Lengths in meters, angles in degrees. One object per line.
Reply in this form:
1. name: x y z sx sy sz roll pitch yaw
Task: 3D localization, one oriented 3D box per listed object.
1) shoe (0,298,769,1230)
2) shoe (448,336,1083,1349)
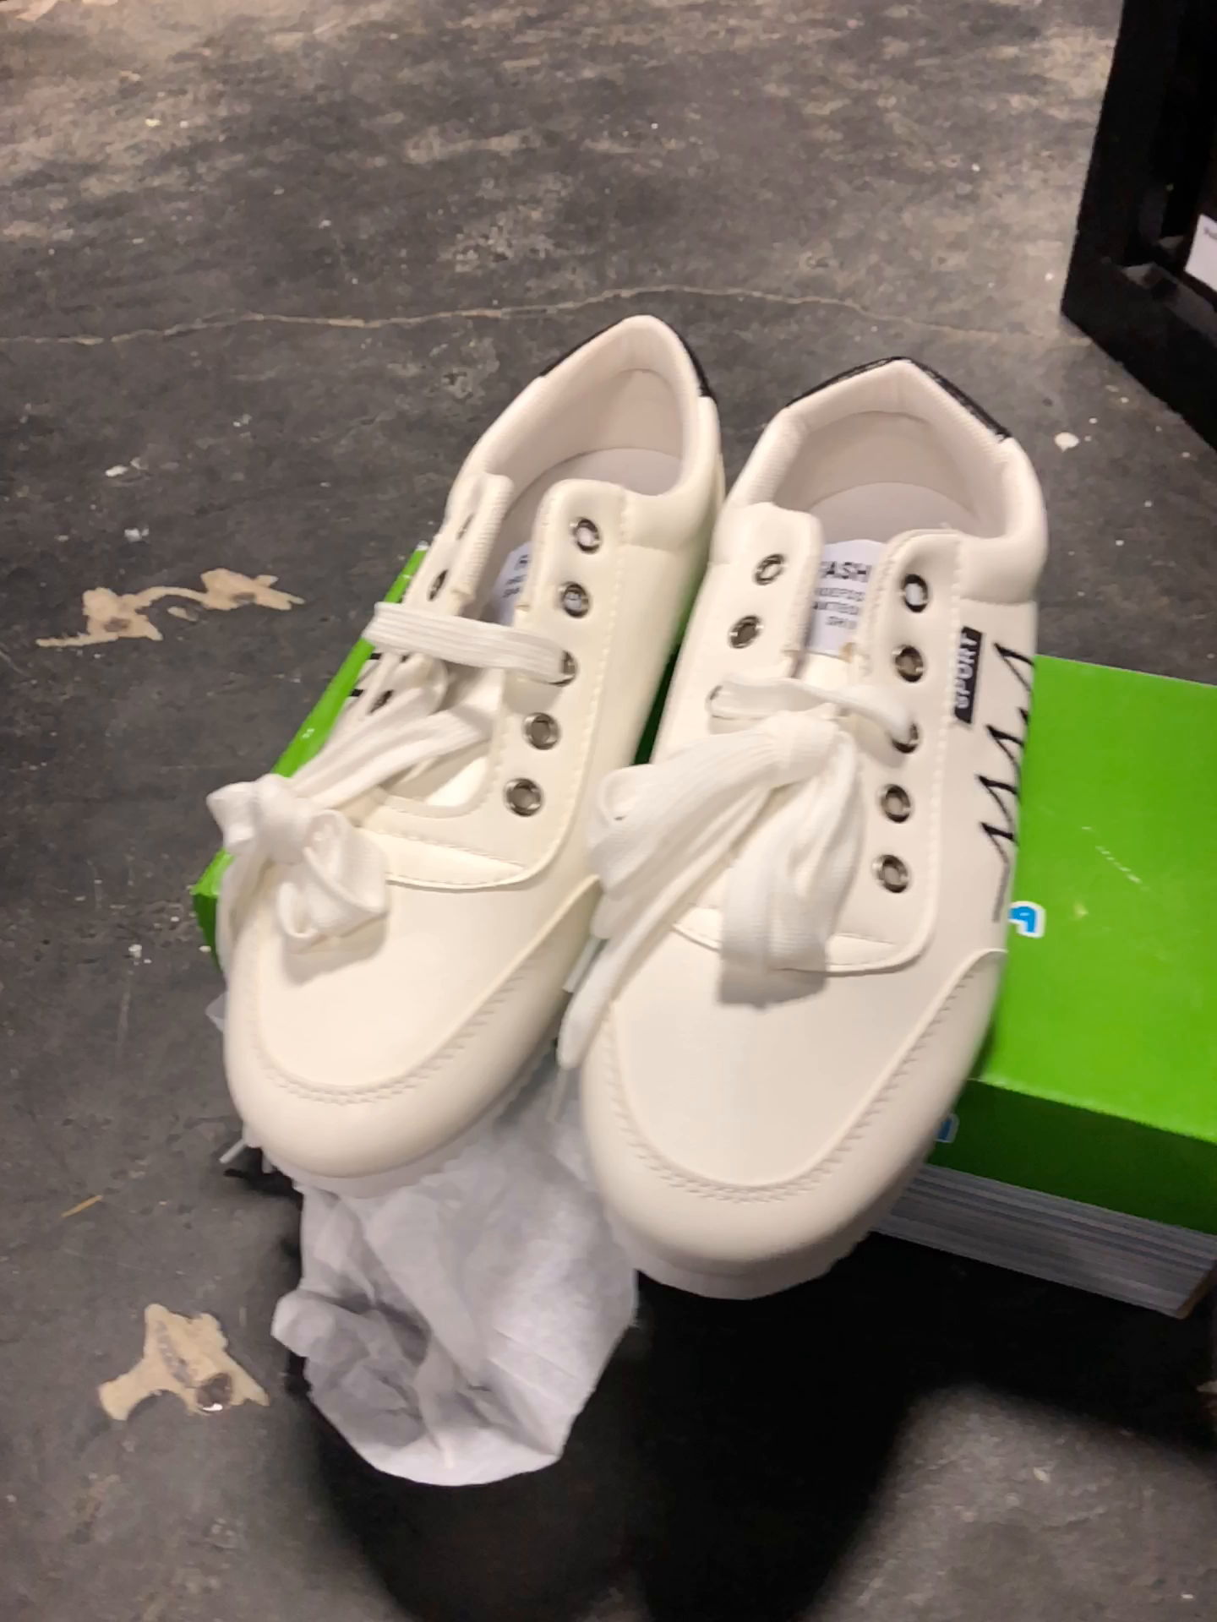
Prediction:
1. shoe: -0.035 -0.039 0.378 0.090 0.079 0.282 8 48 18
2. shoe: 0.062 -0.020 0.360 0.090 0.079 0.282 8 48 18
